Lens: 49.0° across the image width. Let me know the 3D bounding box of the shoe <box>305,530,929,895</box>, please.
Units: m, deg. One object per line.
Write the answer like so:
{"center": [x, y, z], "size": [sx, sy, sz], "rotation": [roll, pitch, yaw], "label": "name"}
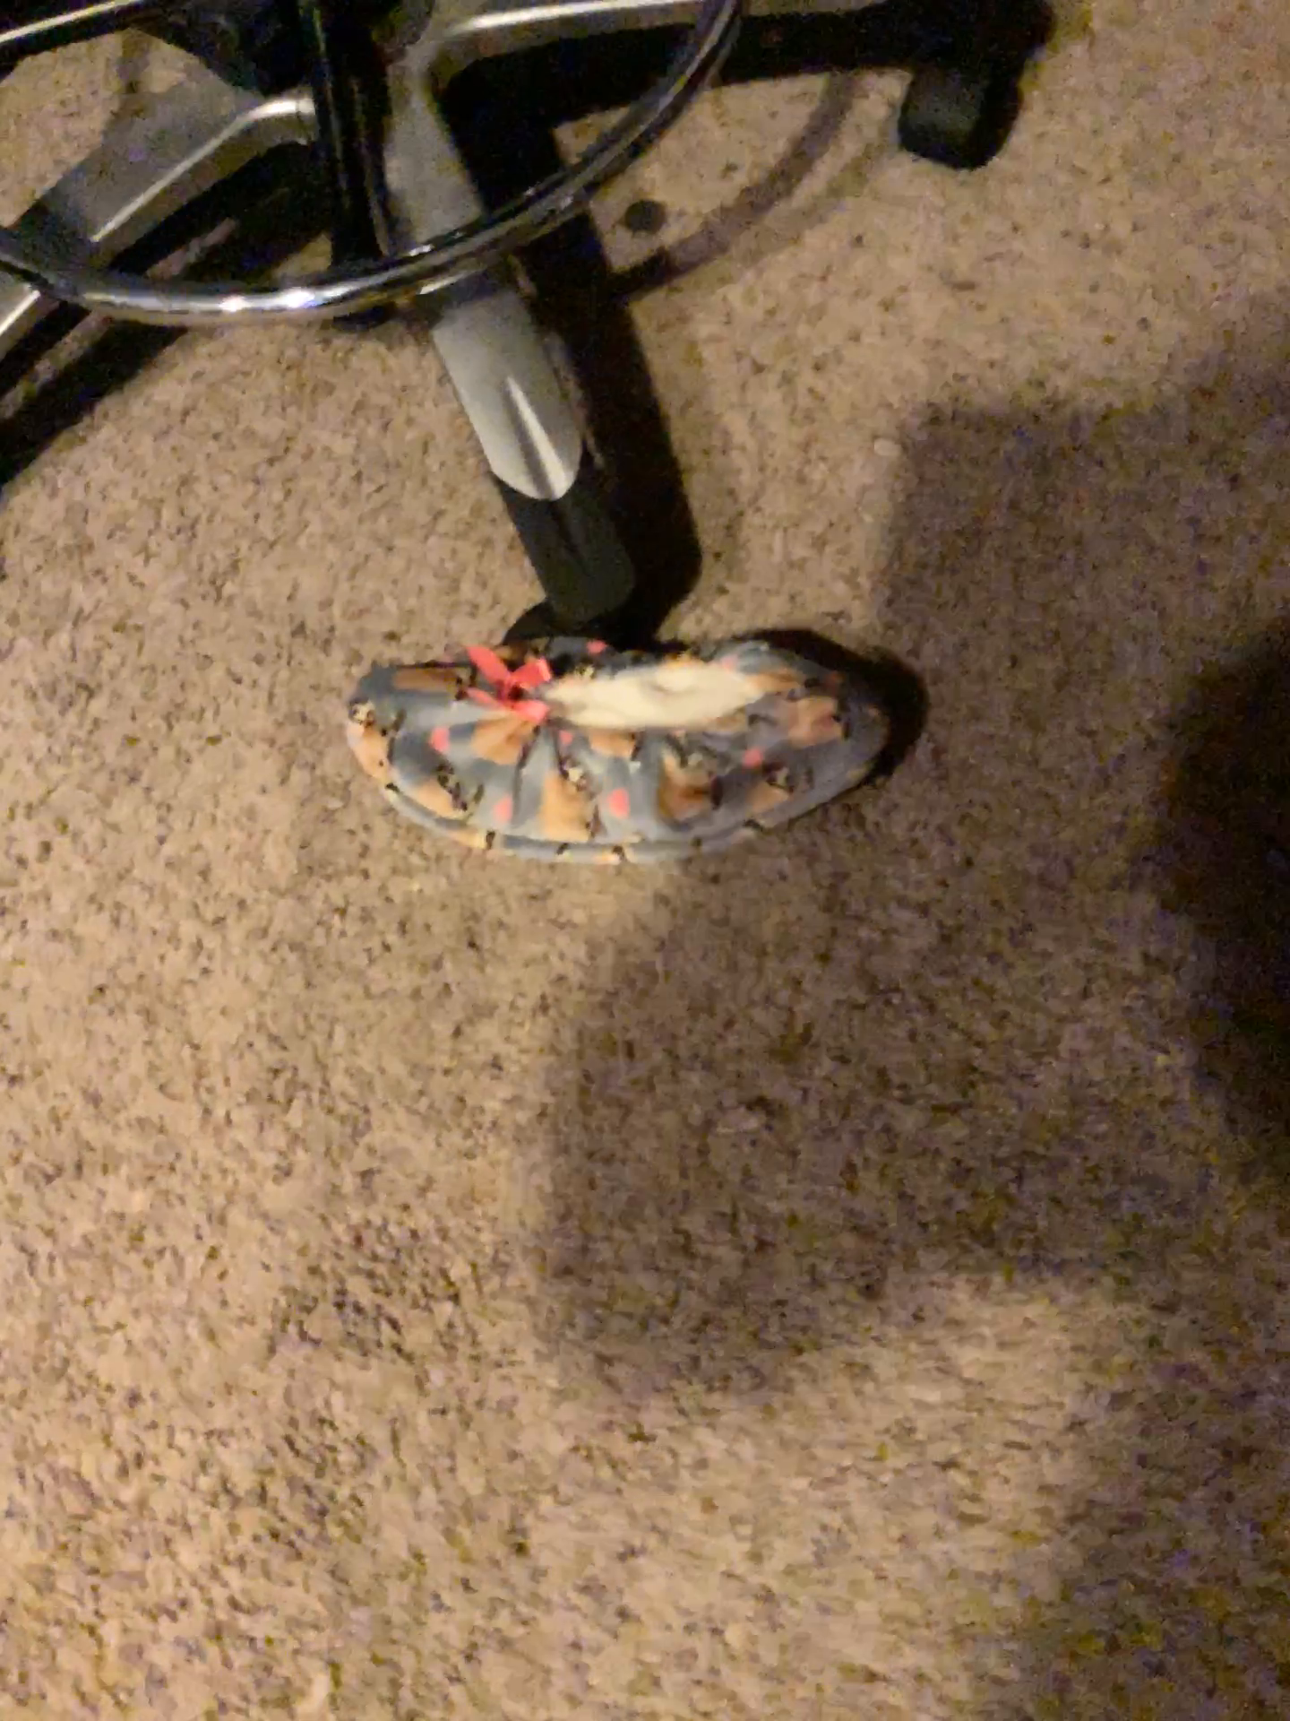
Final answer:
{"center": [-0.013, -0.063, 0.636], "size": [0.260, 0.070, 0.120], "rotation": [-5, 69, 6], "label": "shoe"}
